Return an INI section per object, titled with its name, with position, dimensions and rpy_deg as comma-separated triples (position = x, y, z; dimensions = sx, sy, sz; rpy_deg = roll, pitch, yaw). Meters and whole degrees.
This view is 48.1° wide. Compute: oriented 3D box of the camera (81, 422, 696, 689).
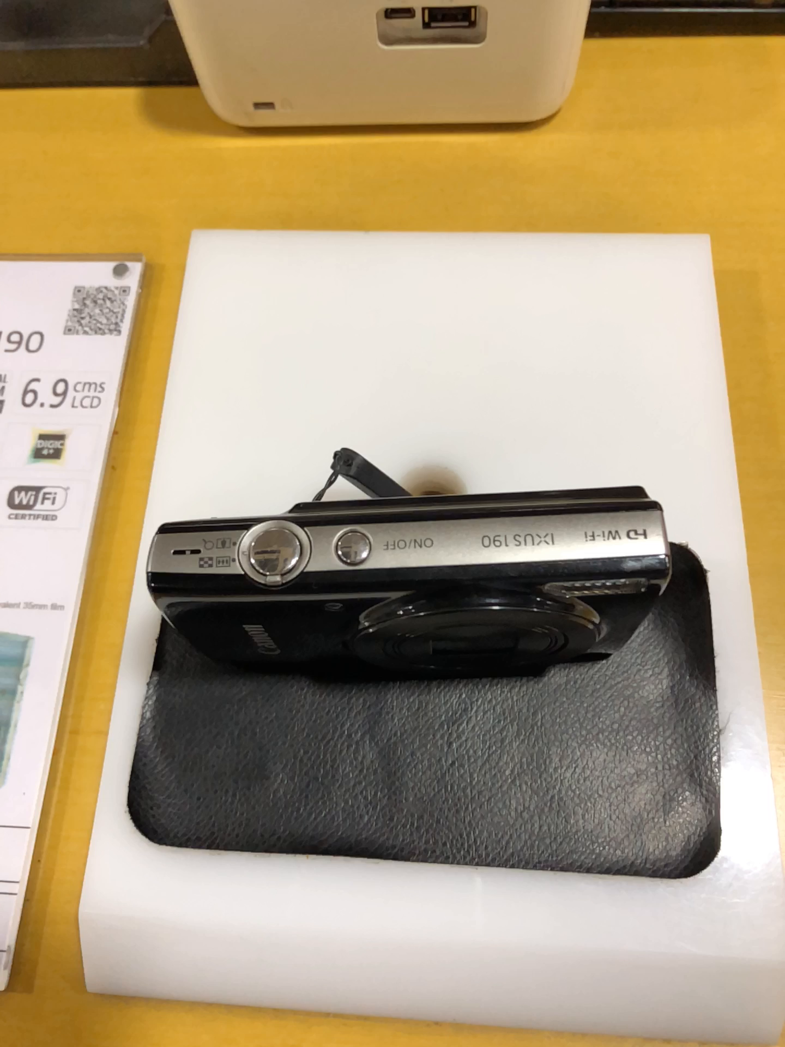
[camera]
position = -0.001, 0.009, 0.172
dimensions = 0.100, 0.050, 0.030
rpy_deg = -4, 67, 2
